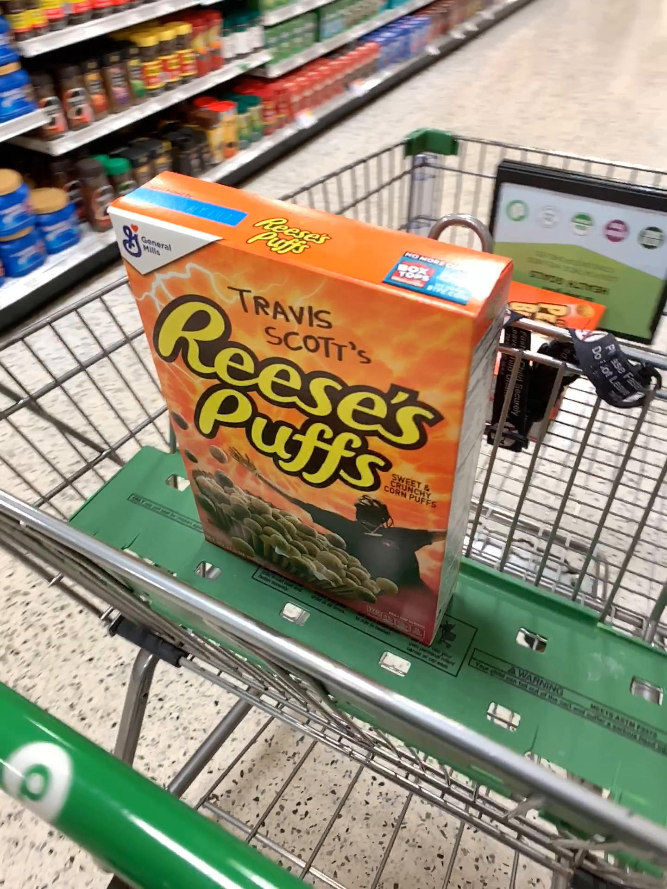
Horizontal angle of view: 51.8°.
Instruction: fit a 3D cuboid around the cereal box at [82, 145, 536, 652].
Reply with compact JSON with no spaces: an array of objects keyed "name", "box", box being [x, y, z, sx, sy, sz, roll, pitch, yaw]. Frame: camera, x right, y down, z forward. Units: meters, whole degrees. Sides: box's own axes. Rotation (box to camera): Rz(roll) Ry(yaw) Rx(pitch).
[{"name":"cereal box","box":[-0.014,-0.011,0.410,0.211,0.277,0.050,22,51,22]}]
